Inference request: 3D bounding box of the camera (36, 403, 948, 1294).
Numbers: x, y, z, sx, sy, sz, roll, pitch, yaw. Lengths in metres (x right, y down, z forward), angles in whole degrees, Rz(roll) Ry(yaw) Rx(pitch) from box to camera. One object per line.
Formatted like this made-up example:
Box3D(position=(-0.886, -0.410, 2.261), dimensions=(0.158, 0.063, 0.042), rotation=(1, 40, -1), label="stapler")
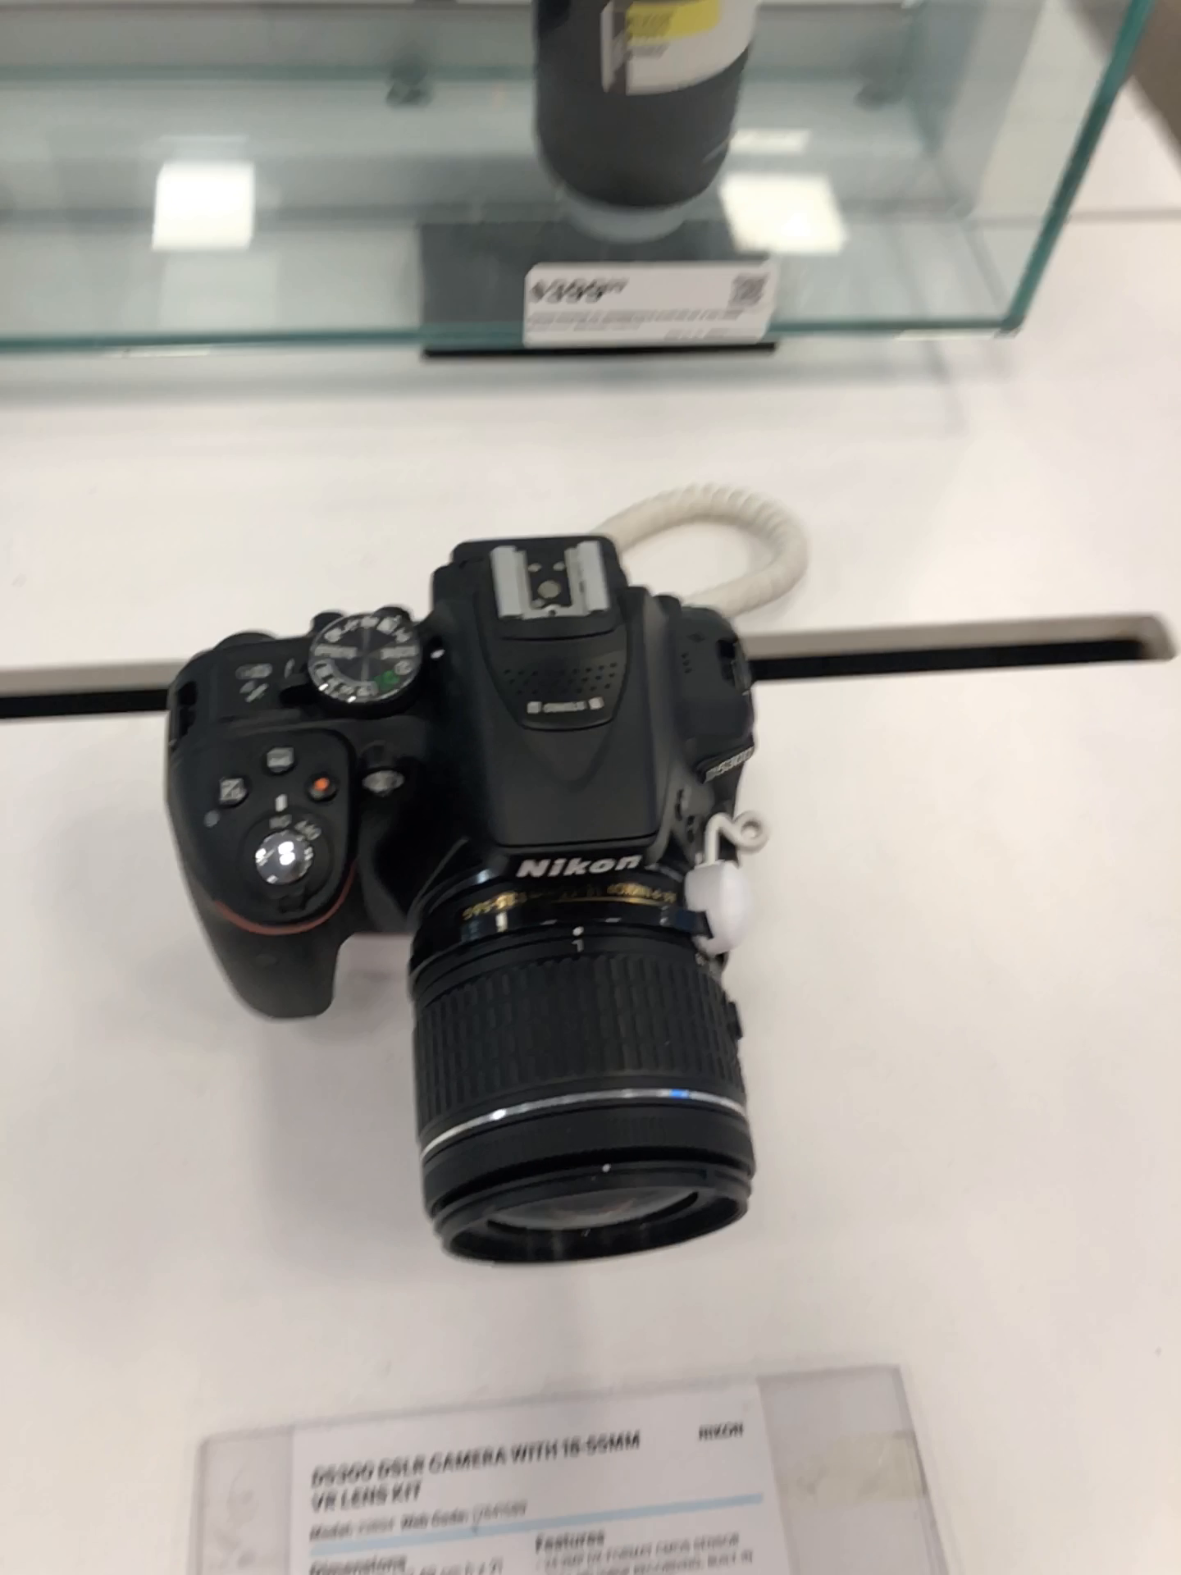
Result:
Box3D(position=(-0.023, 0.011, 0.267), dimensions=(0.130, 0.100, 0.140), rotation=(-4, 56, -7), label="camera")
